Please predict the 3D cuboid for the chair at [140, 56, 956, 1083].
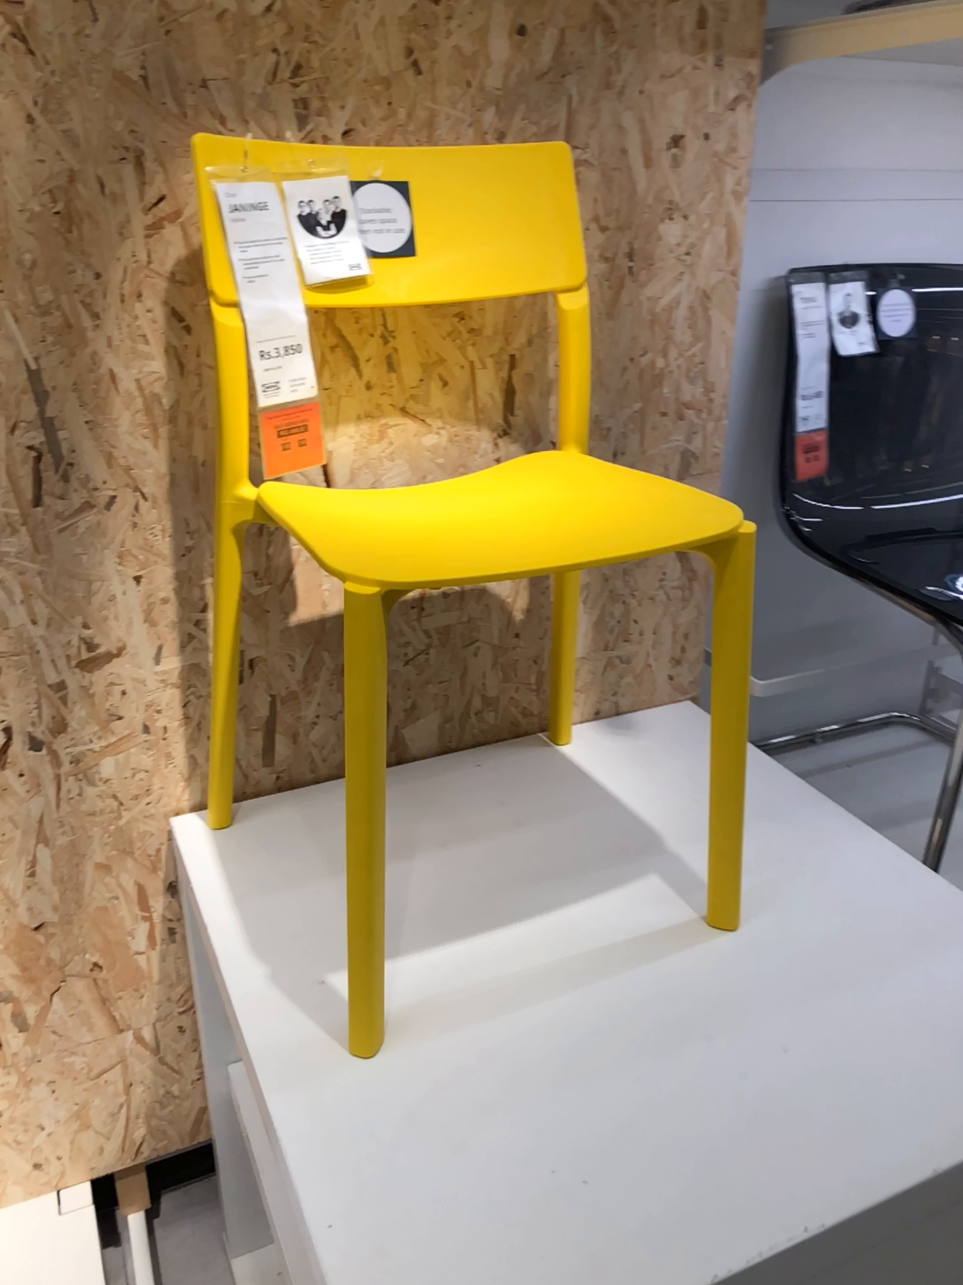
[{"bbox_3d":[0.013,-0.105,0.946,0.461,0.676,0.462,-11,25,-24],"label":"chair"}]
